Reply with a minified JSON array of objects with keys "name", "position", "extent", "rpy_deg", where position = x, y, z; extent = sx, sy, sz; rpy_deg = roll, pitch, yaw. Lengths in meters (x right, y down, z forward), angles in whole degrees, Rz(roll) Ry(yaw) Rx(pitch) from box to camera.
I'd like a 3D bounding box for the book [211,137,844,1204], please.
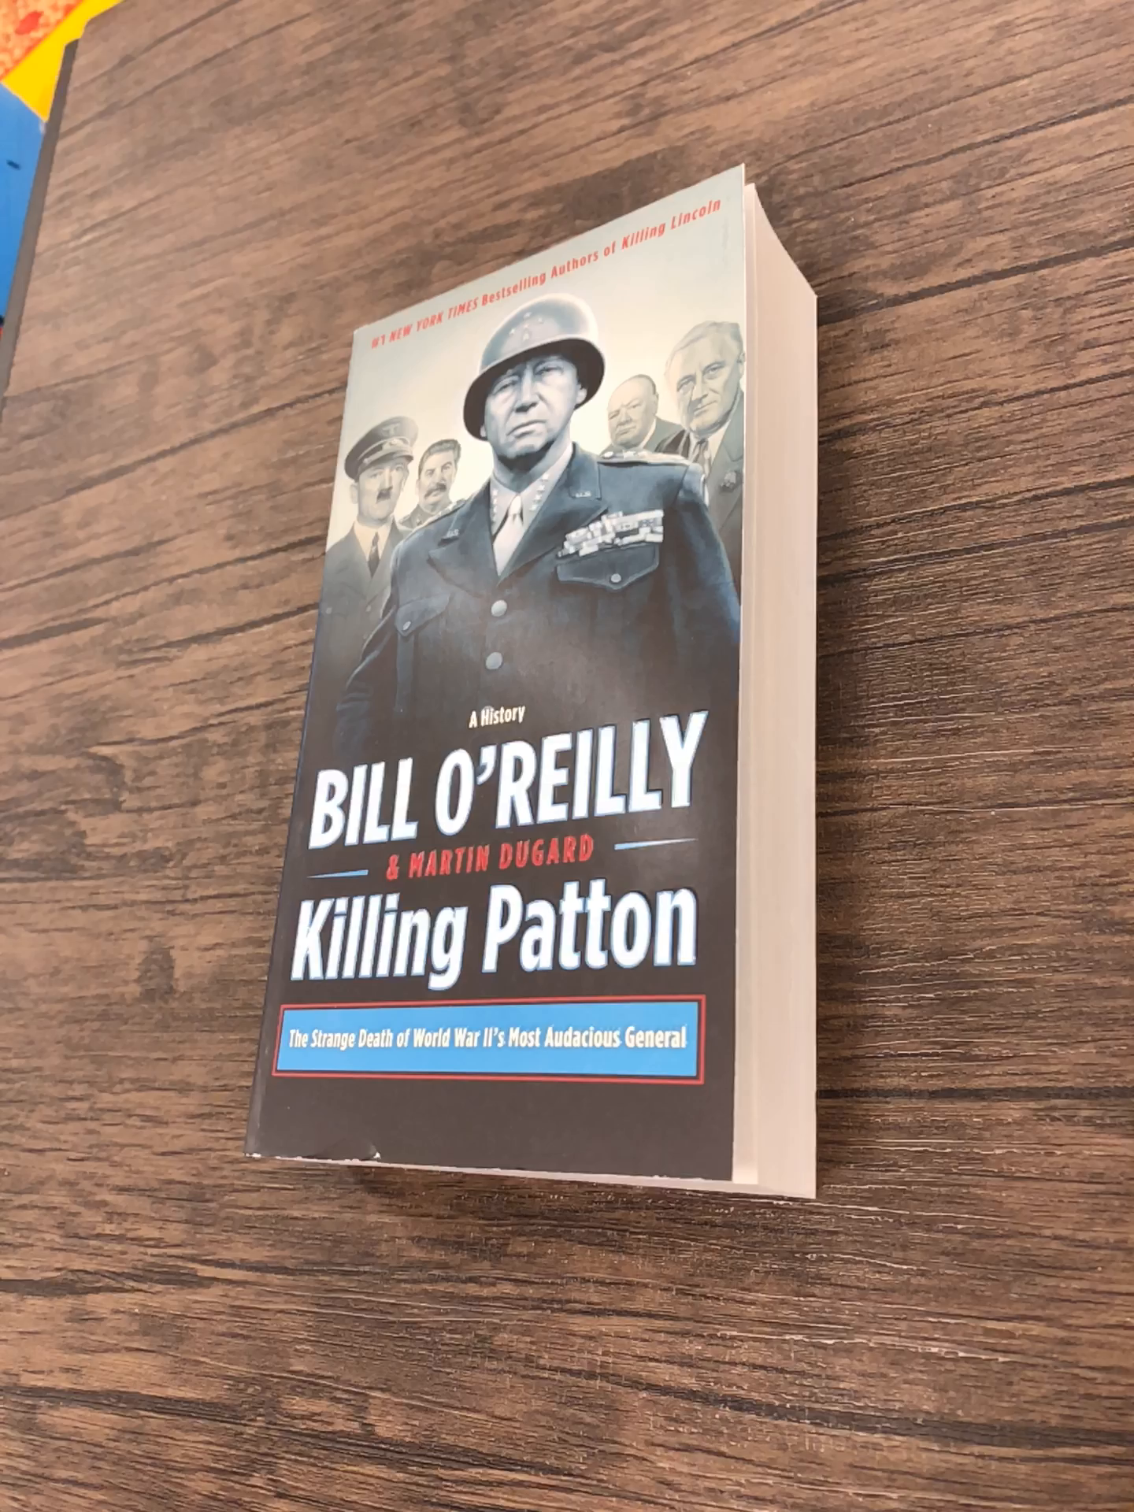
[{"name":"book","position":[-0.005,-0.013,0.245],"extent":[0.106,0.040,0.182],"rpy_deg":[-10,67,34]}]
